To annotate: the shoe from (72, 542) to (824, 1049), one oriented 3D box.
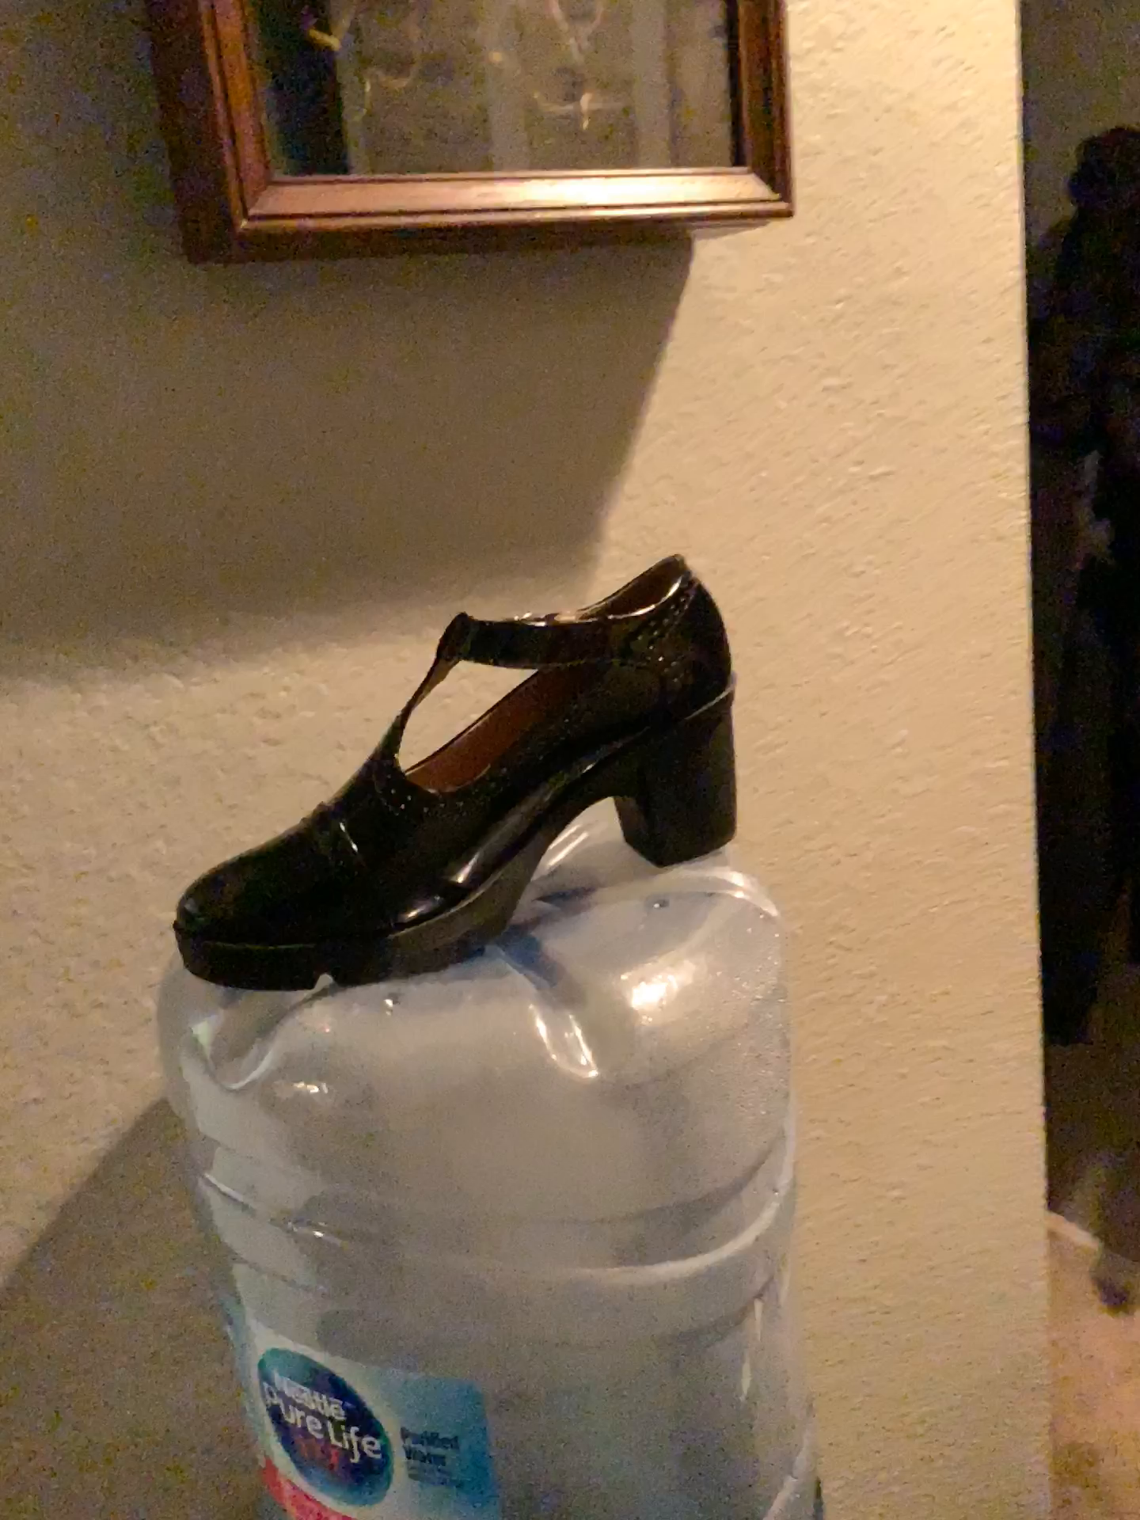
[{"bbox_3d":[-0.045,-0.004,0.497,0.250,0.120,0.130,-14,17,-23],"label":"shoe"}]
